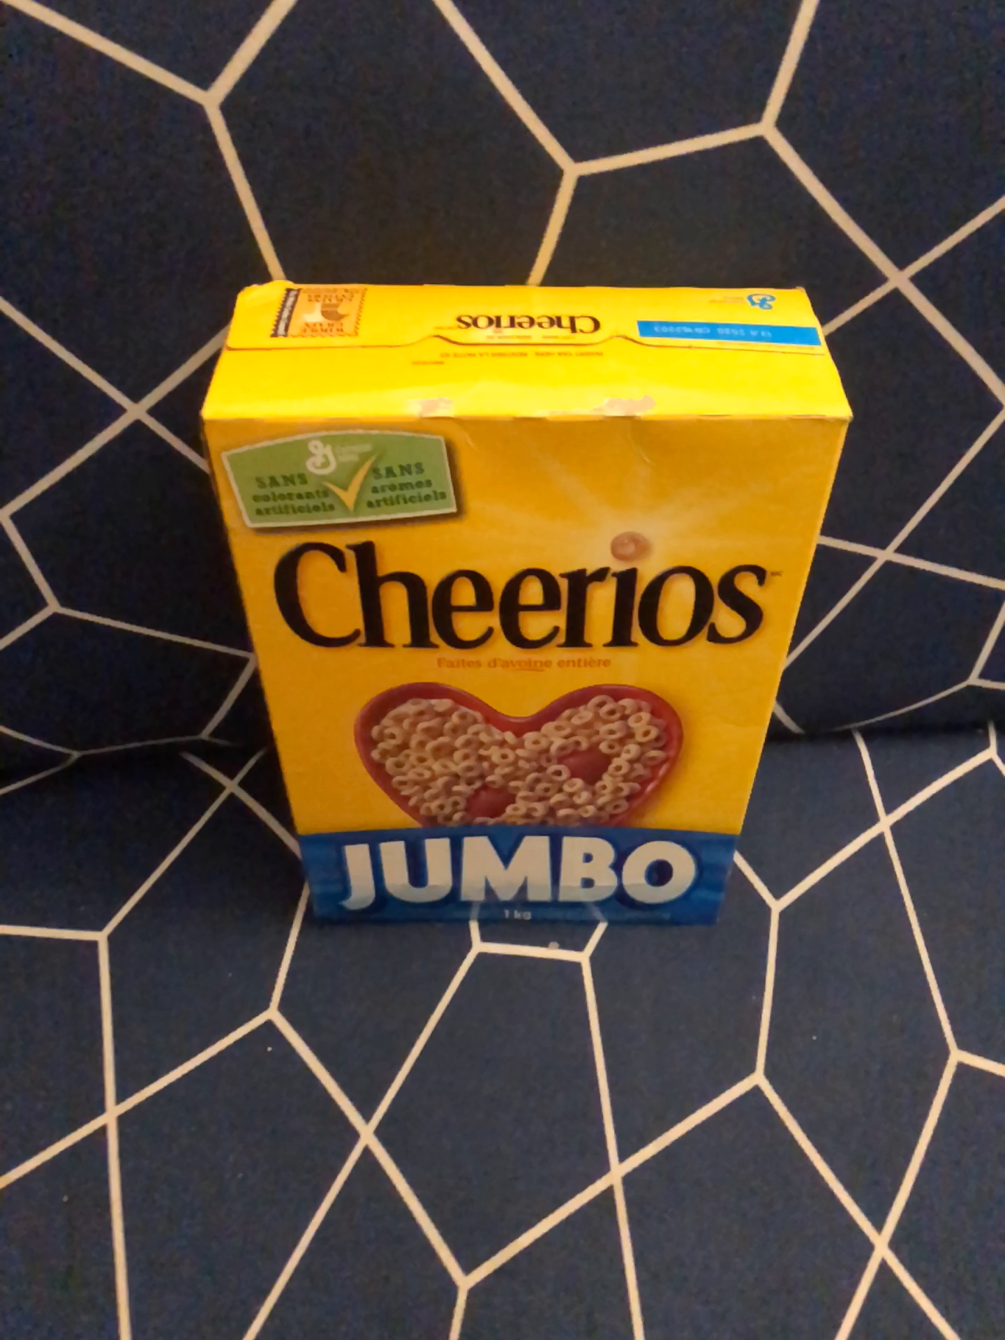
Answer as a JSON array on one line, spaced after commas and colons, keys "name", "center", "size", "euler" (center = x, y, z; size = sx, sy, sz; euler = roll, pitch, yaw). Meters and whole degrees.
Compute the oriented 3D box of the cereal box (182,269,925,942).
[{"name": "cereal box", "center": [0.013, -0.004, 0.442], "size": [0.210, 0.289, 0.080], "euler": [0, 45, -1]}]
